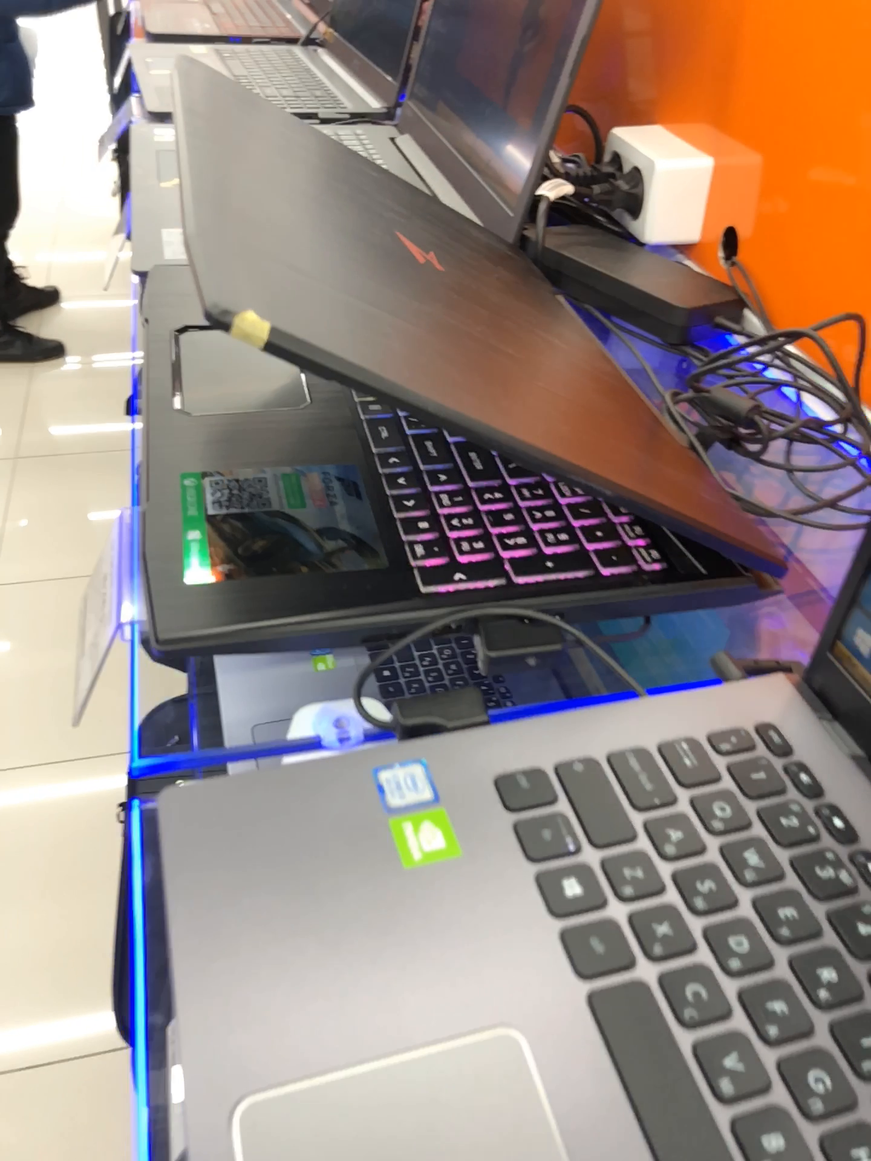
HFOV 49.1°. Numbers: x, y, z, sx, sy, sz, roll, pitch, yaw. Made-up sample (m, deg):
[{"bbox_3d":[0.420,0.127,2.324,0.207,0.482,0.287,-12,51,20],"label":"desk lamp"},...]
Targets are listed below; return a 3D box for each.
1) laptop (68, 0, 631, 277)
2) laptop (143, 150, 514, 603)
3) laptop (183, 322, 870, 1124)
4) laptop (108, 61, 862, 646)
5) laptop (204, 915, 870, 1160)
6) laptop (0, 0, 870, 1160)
[{"bbox_3d":[-0.081,-0.424,0.731,0.318,0.228,0.360,-7,40,-14],"label":"laptop"},{"bbox_3d":[-0.128,-0.222,0.943,0.272,0.270,0.408,-5,39,-13],"label":"laptop"},{"bbox_3d":[0.008,0.048,0.605,0.286,0.256,0.396,-7,39,-12],"label":"laptop"},{"bbox_3d":[-0.023,-0.150,0.469,0.243,0.121,0.366,-7,39,-13],"label":"laptop"},{"bbox_3d":[0.076,0.332,0.233,0.229,0.240,0.361,-6,38,-12],"label":"laptop"},{"bbox_3d":[0.079,0.065,0.118,0.230,0.216,0.353,-9,39,-16],"label":"laptop"}]
